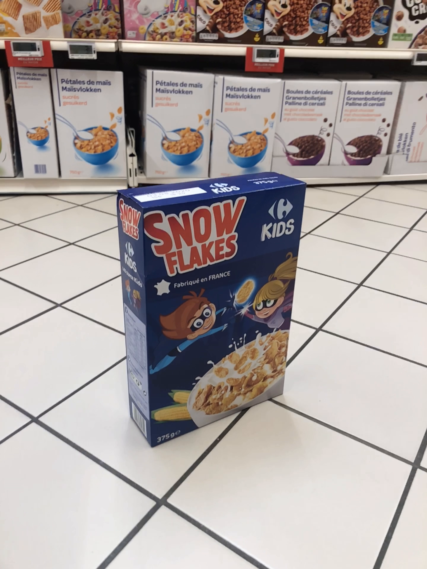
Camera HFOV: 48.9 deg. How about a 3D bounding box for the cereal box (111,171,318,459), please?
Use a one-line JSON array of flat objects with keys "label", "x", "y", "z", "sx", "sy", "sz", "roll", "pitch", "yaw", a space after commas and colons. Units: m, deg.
[{"label": "cereal box", "x": 0.001, "y": 0.031, "z": 0.546, "sx": 0.201, "sy": 0.288, "sz": 0.080, "roll": -14, "pitch": 30, "yaw": -28}]
